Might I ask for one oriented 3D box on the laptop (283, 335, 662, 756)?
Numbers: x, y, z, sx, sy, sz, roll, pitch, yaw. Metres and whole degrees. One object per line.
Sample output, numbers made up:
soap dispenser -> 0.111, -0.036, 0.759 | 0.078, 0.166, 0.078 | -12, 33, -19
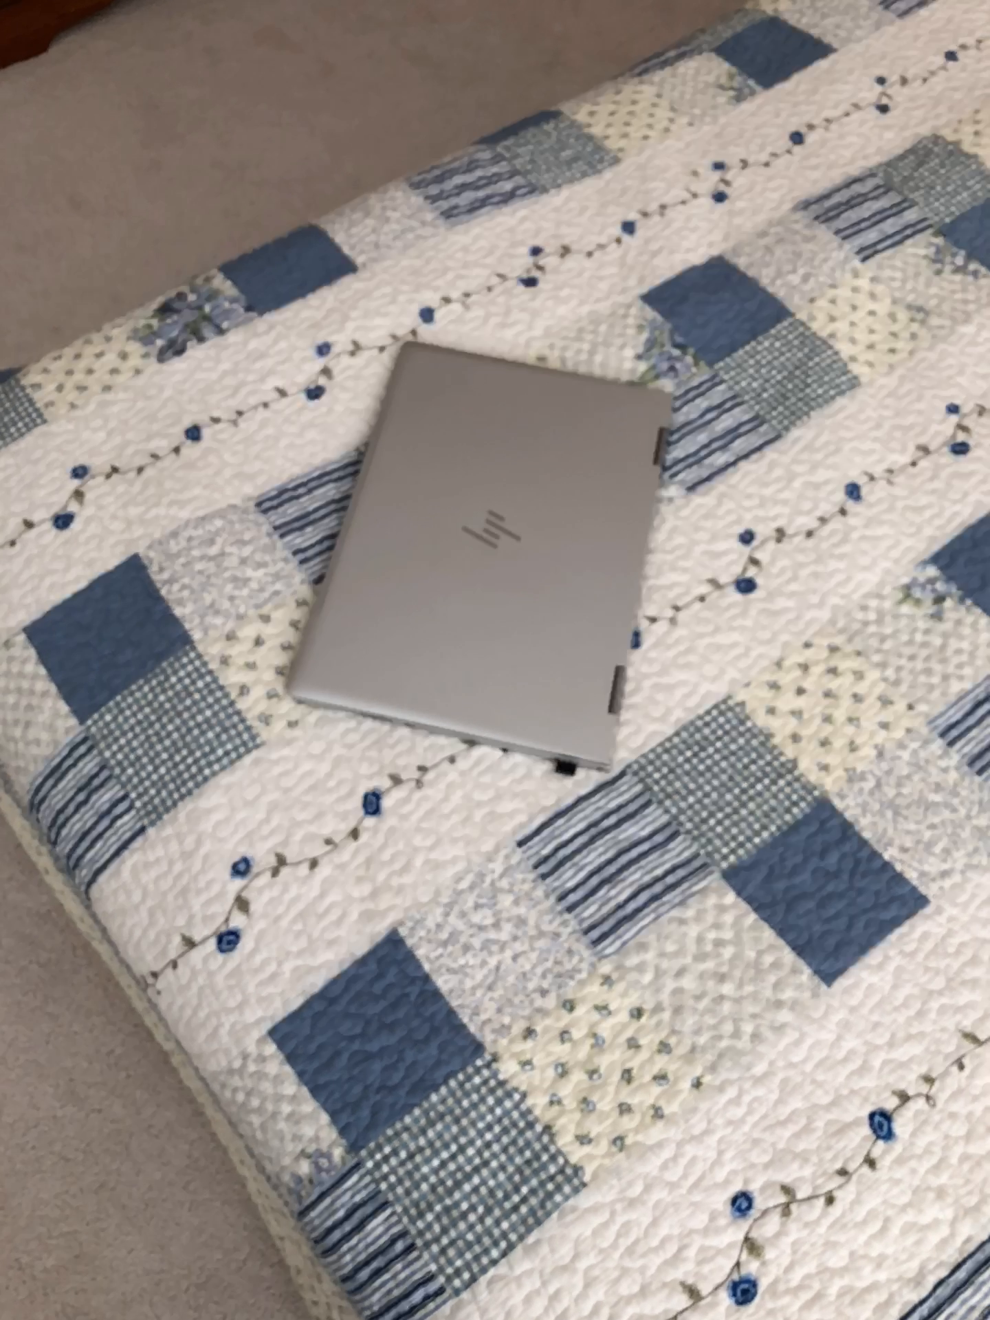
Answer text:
laptop -> -0.004, -0.117, 0.965 | 0.256, 0.011, 0.386 | 12, 61, 1
